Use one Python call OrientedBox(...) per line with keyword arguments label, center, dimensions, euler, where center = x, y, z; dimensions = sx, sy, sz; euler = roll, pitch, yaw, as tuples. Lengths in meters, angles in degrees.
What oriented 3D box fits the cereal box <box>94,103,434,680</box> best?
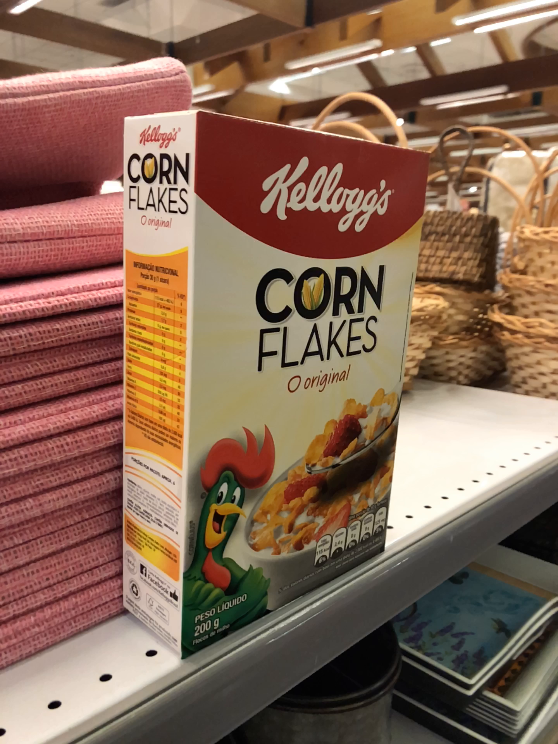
OrientedBox(label="cereal box", center=(-0.006, 0.004, 0.348), dimensions=(0.180, 0.259, 0.060), euler=(-10, 20, -43))
